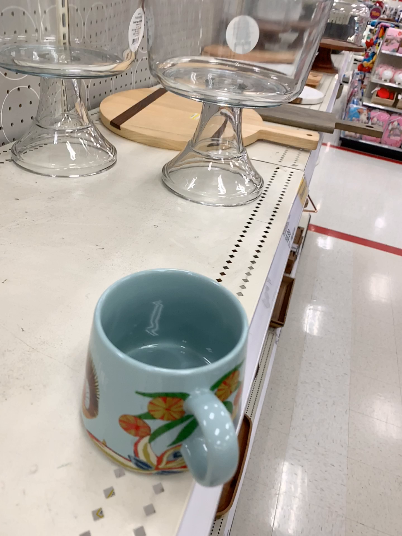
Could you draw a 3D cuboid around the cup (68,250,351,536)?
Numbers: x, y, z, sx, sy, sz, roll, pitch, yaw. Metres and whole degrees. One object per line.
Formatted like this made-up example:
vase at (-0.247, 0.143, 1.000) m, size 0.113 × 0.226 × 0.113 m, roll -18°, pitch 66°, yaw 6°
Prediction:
cup at (-0.013, 0.069, 0.255) m, size 0.120 × 0.090 × 0.141 m, roll -5°, pitch 38°, yaw -20°
